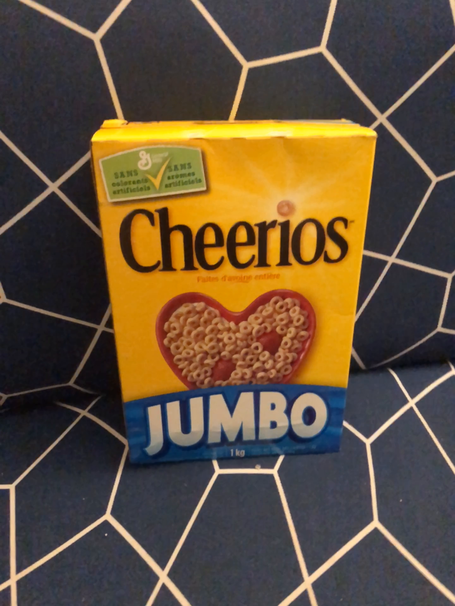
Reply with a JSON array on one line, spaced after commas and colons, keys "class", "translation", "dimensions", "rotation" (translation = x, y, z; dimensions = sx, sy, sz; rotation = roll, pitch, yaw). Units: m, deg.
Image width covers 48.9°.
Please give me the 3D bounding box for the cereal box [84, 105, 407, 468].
[{"class": "cereal box", "translation": [0.010, -0.008, 0.421], "dimensions": [0.210, 0.289, 0.080], "rotation": [-2, 26, -5]}]
